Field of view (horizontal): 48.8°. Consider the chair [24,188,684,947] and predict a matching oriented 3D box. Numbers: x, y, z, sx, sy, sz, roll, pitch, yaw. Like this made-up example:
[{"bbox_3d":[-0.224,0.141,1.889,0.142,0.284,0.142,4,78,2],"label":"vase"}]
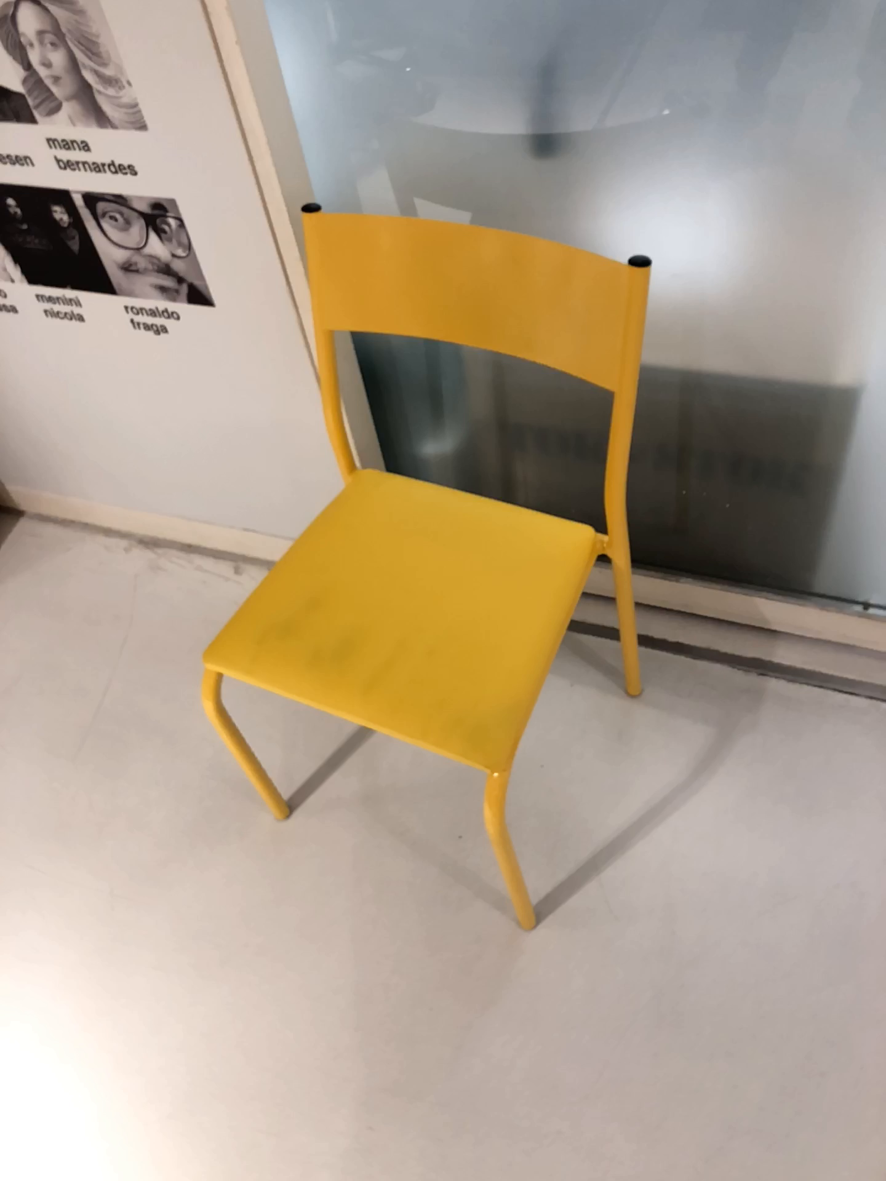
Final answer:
[{"bbox_3d":[-0.021,-0.001,1.297,0.491,0.785,0.522,17,57,22],"label":"chair"}]
